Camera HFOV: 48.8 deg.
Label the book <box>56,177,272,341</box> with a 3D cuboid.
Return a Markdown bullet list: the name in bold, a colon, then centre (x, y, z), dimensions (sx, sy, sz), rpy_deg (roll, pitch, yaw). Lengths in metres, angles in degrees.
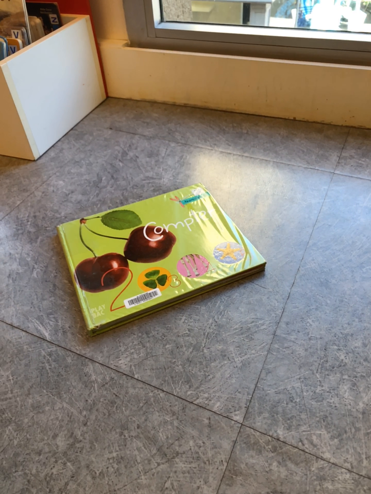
- **book**: centre (-0.042, -0.002, 0.609), dimensions (0.256, 0.021, 0.222), rpy_deg (-19, 48, -15)
